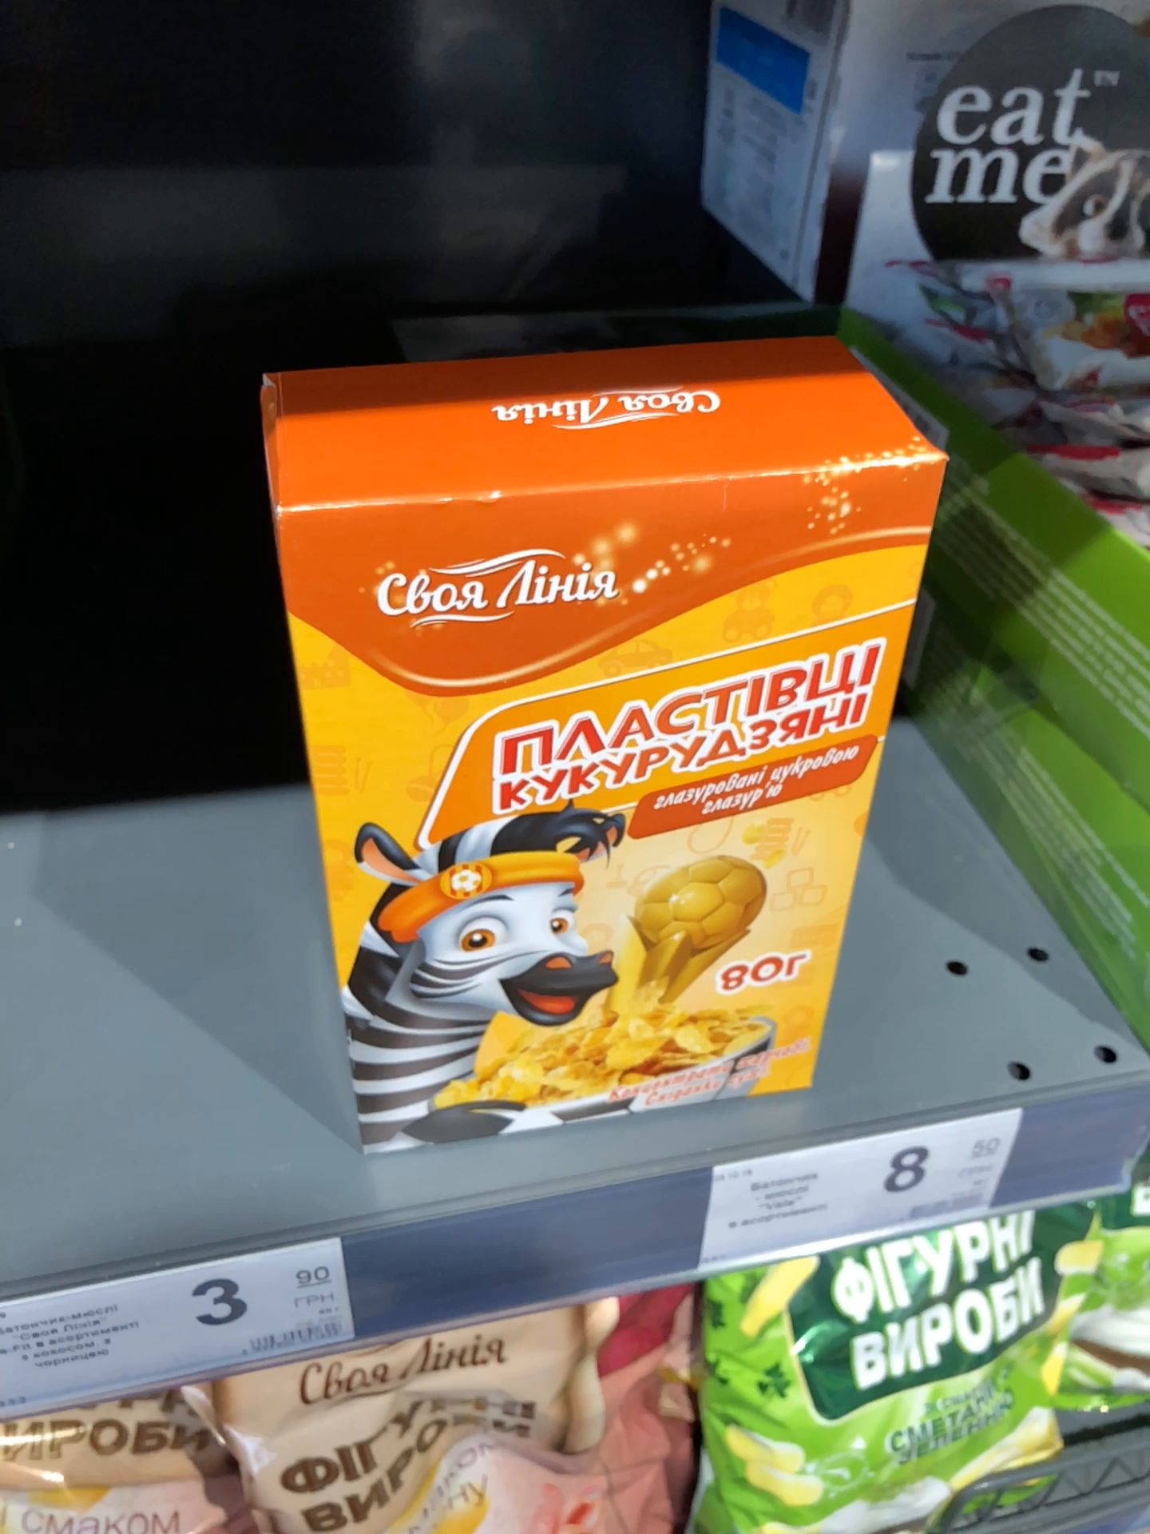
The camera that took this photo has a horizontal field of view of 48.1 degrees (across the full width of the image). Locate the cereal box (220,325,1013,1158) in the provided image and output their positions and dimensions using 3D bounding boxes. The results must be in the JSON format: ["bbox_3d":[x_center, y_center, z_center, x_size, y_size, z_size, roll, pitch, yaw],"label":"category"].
[{"bbox_3d":[0.002,0.002,0.260,0.120,0.159,0.050,-6,40,-10],"label":"cereal box"}]
